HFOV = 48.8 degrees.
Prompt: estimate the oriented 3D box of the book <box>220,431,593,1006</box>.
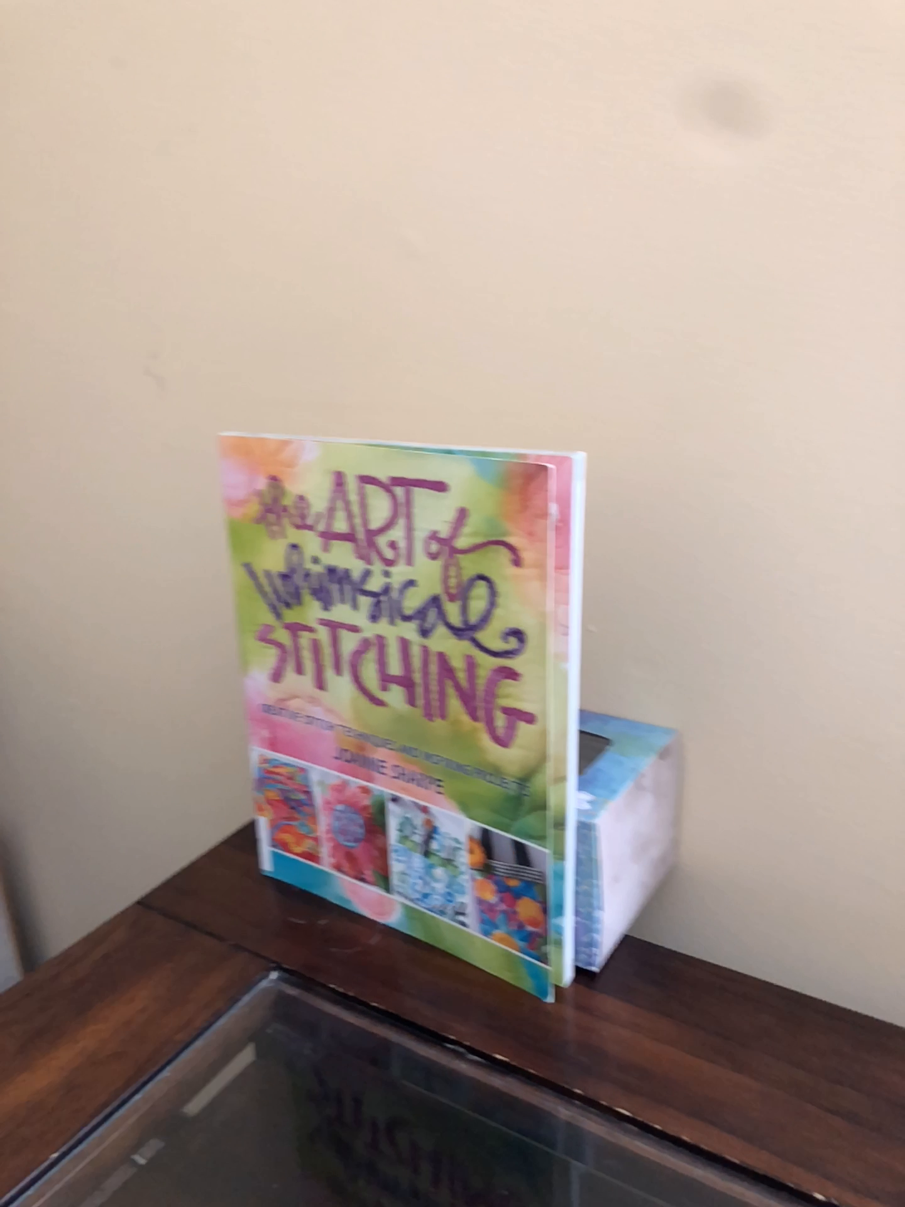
[{"bbox_3d":[-0.033,0.049,0.526,0.214,0.263,0.029,11,18,35],"label":"book"}]
